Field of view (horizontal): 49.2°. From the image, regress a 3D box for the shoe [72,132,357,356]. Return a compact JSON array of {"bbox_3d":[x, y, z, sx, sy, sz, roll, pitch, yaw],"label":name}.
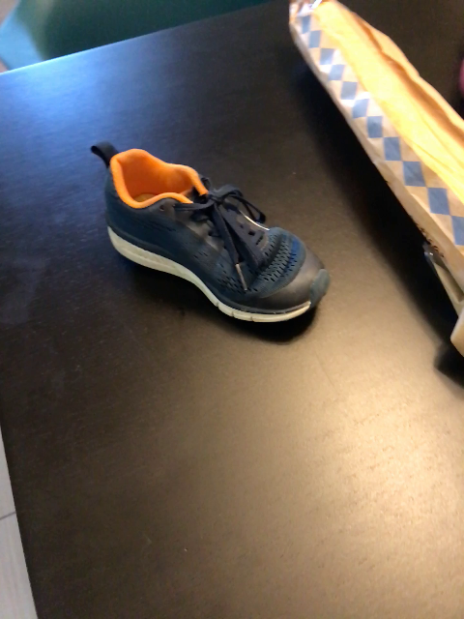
[{"bbox_3d":[-0.014,-0.055,0.387,0.186,0.072,0.084,25,59,20],"label":"shoe"}]
